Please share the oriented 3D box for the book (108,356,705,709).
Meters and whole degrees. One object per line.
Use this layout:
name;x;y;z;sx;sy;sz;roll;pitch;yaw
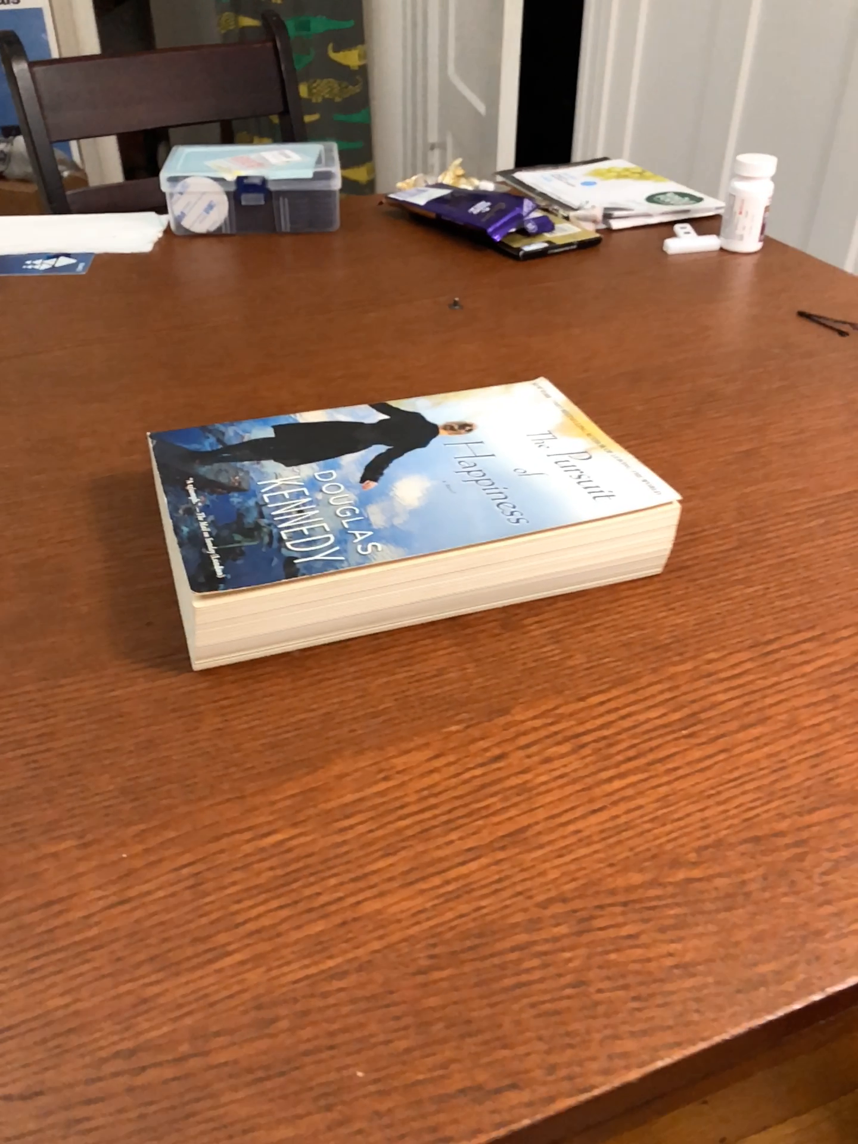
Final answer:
book;-0.019;-0.034;0.457;0.240;0.050;0.161;-12;38;-16
